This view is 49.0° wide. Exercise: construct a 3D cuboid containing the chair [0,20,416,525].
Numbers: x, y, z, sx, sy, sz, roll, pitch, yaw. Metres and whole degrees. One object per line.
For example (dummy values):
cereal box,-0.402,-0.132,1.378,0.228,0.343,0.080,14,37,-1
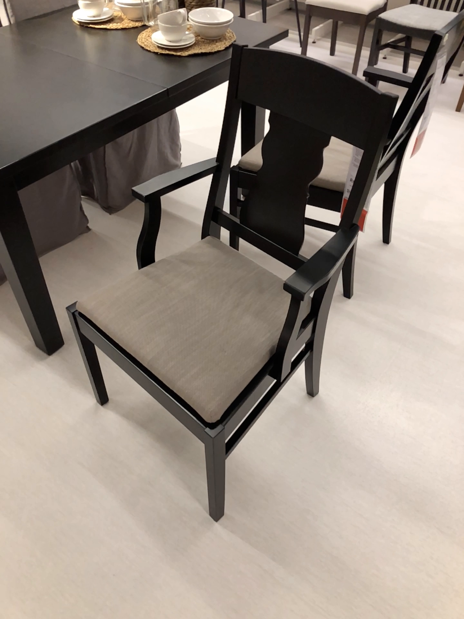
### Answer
chair,-0.058,-0.061,1.297,0.572,0.994,0.572,34,54,29
